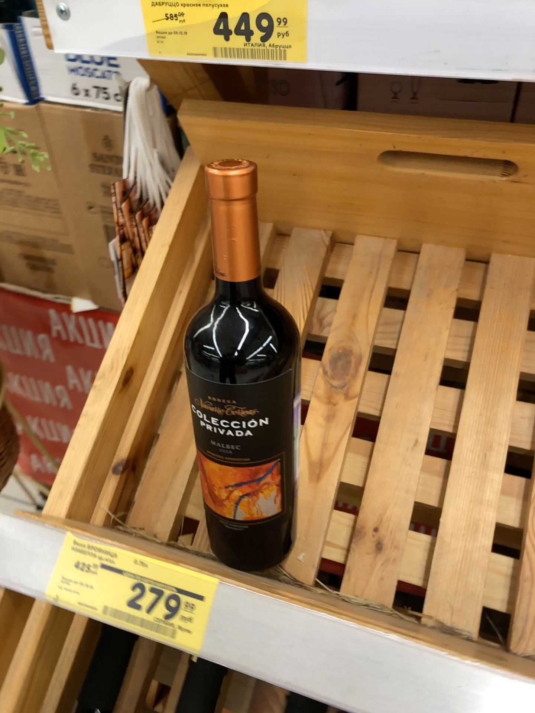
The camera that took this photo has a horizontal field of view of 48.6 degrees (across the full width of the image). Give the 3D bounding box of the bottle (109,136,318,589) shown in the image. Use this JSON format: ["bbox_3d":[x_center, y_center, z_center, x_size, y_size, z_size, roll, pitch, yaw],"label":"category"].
[{"bbox_3d":[-0.022,0.014,0.395,0.086,0.289,0.080,-1,30,1],"label":"bottle"}]
